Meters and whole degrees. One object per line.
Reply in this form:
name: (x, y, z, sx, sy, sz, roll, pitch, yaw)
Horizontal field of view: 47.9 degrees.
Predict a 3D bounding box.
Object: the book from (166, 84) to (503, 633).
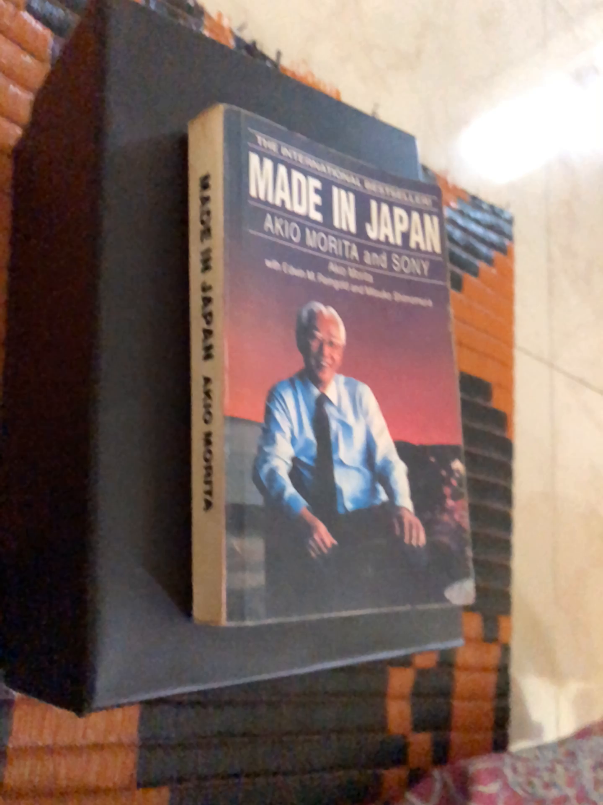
book: (0.014, -0.012, 0.248, 0.121, 0.030, 0.170, 7, 74, -34)
